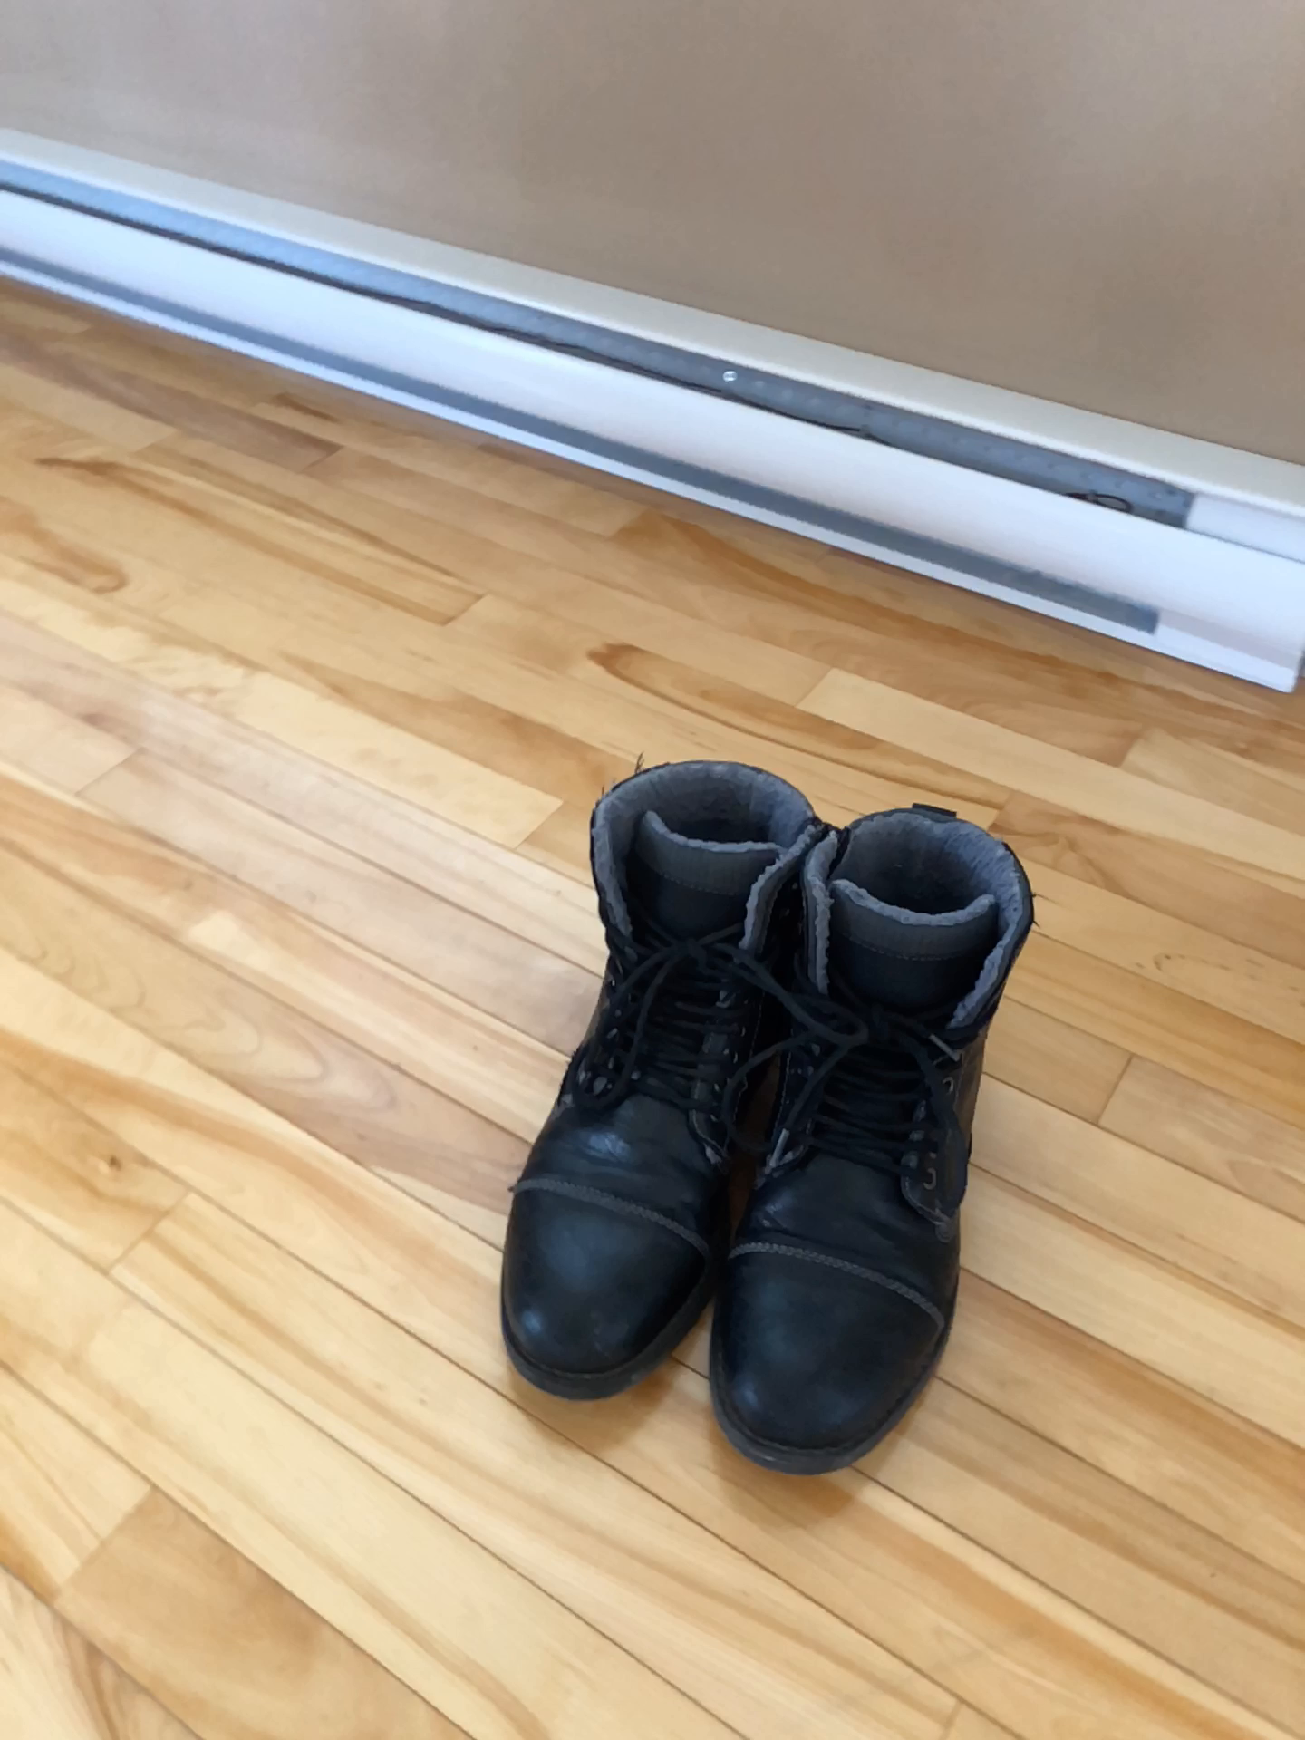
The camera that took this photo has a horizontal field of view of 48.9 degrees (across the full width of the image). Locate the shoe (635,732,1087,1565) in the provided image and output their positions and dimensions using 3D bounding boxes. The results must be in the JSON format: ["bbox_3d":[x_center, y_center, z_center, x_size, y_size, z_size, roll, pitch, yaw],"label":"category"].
[{"bbox_3d":[0.102,0.115,0.666,0.120,0.199,0.301,13,45,14],"label":"shoe"}]

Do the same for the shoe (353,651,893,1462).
[{"bbox_3d":[0.004,0.073,0.660,0.120,0.199,0.291,15,46,16],"label":"shoe"}]
